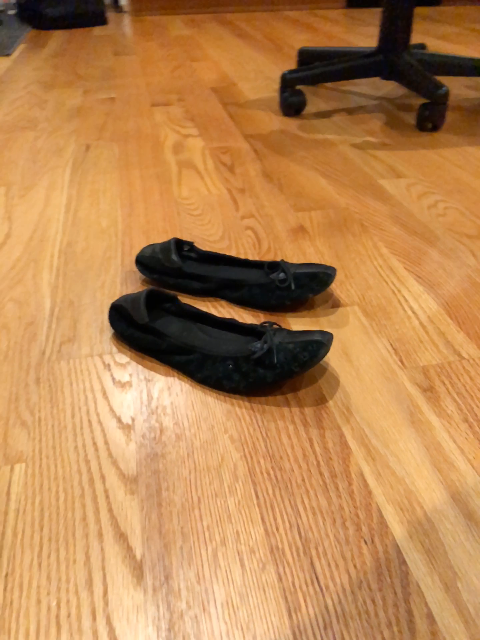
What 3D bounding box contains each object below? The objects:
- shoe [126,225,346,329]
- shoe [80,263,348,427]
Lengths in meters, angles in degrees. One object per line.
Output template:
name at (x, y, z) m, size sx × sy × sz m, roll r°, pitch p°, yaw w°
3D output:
shoe at (-0.002, -0.052, 0.582) m, size 0.220 × 0.046 × 0.093 m, roll 9°, pitch 36°, yaw 13°
shoe at (-0.023, 0.014, 0.489) m, size 0.220 × 0.050 × 0.101 m, roll 15°, pitch 38°, yaw 20°
